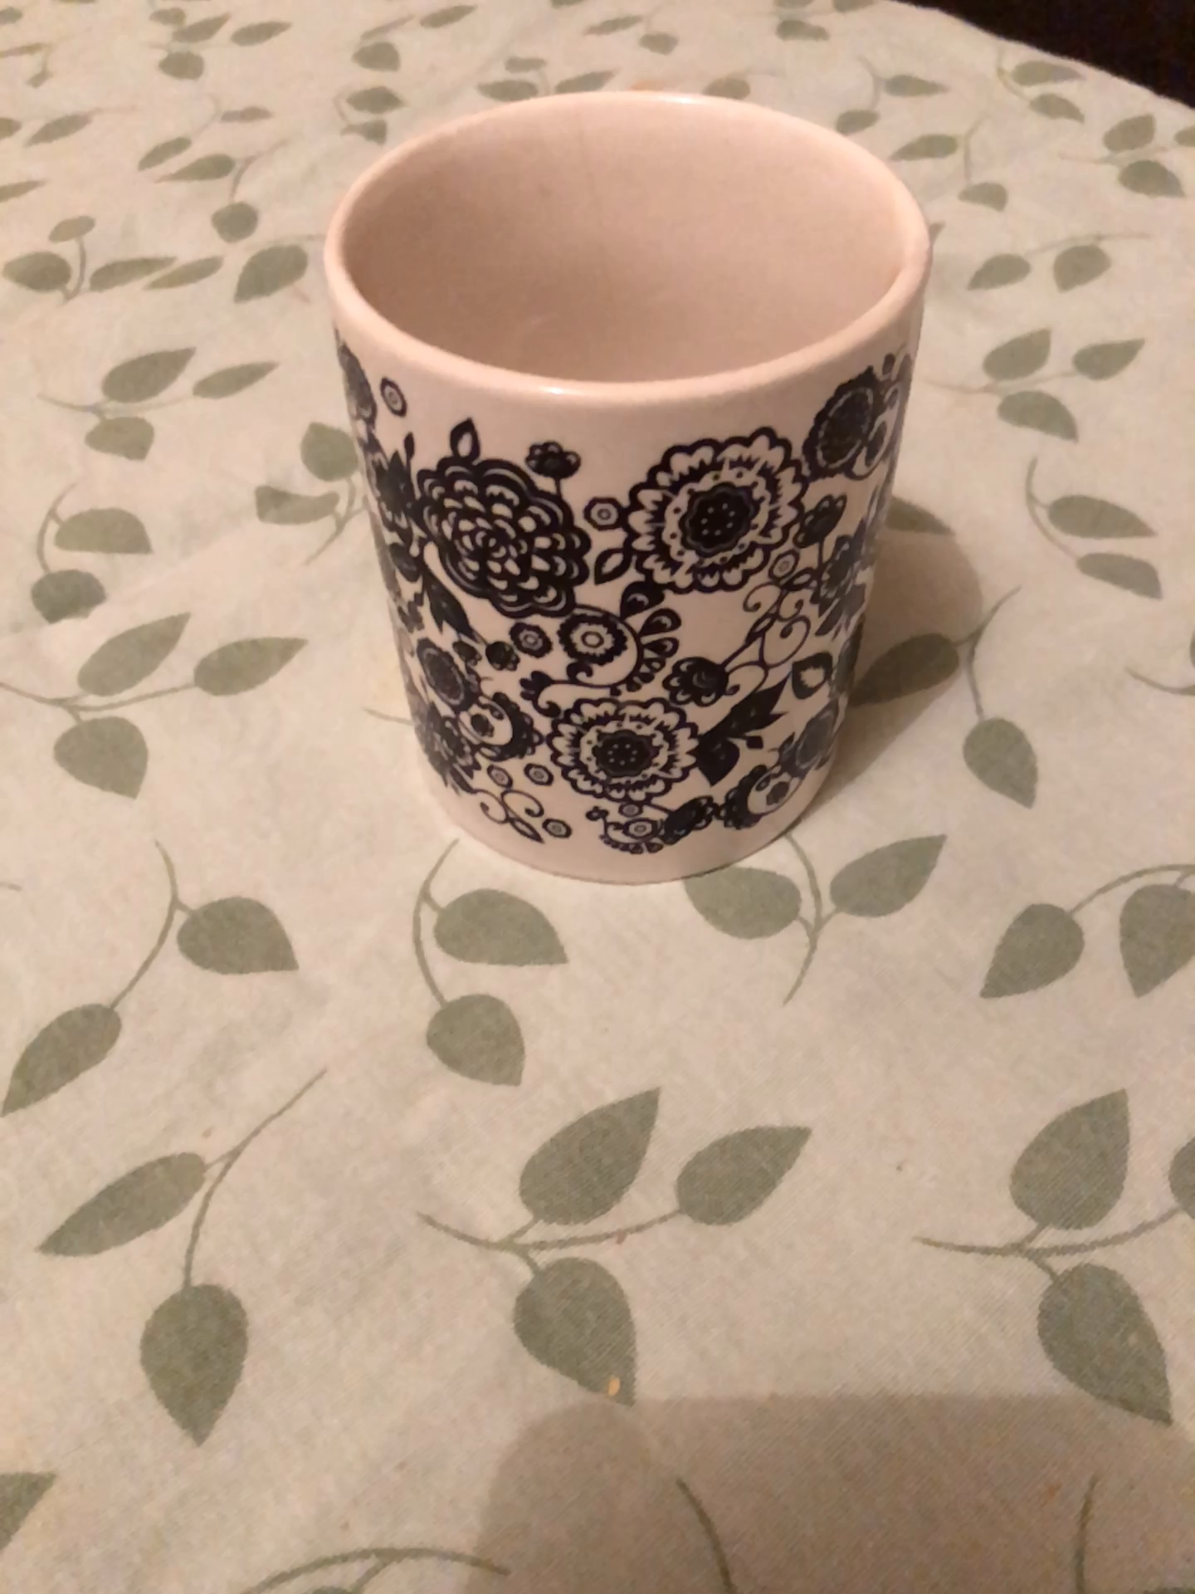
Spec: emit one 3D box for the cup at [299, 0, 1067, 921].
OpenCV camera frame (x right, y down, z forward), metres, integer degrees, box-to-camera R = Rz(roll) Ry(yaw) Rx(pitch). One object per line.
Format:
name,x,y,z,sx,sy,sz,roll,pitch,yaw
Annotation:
cup,0.003,-0.064,0.223,0.080,0.099,0.121,-10,50,-6
